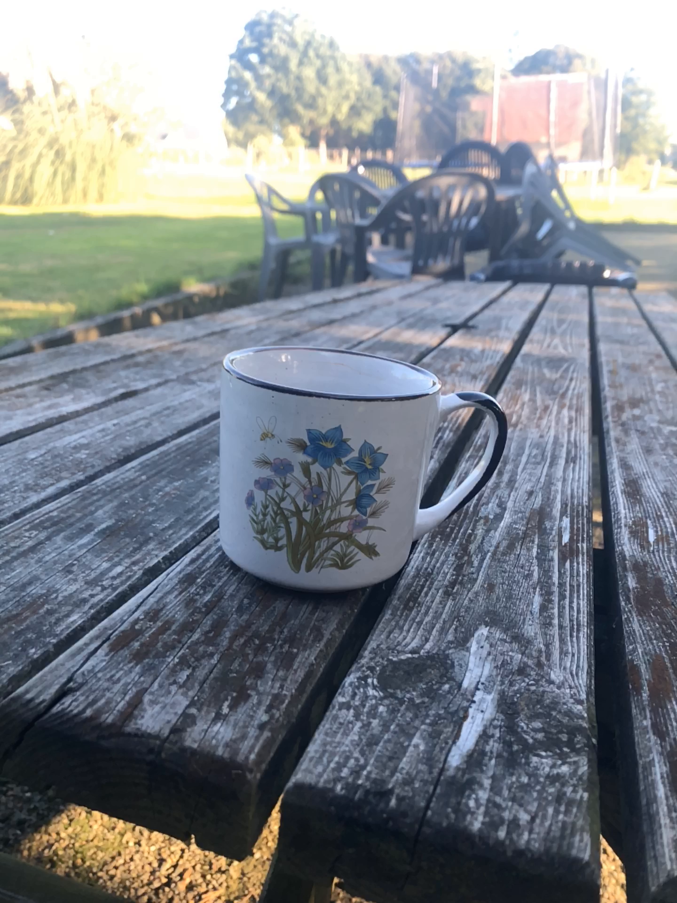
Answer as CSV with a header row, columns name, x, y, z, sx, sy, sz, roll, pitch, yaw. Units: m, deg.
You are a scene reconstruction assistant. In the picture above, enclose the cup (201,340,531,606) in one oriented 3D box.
name,x,y,z,sx,sy,sz,roll,pitch,yaw
cup,0.005,0.004,0.299,0.108,0.078,0.087,2,16,-5
